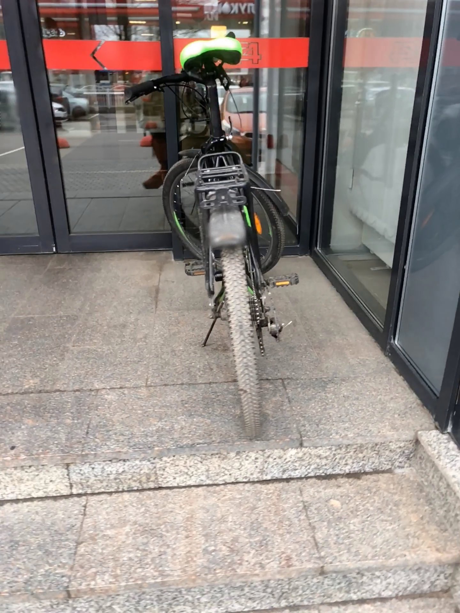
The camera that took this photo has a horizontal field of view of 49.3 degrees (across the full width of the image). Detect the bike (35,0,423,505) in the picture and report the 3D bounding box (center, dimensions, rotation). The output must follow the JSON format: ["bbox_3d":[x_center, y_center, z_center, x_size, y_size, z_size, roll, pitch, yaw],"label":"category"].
[{"bbox_3d":[-0.156,-0.340,1.706,0.628,1.051,1.552,-5,24,-11],"label":"bike"}]
